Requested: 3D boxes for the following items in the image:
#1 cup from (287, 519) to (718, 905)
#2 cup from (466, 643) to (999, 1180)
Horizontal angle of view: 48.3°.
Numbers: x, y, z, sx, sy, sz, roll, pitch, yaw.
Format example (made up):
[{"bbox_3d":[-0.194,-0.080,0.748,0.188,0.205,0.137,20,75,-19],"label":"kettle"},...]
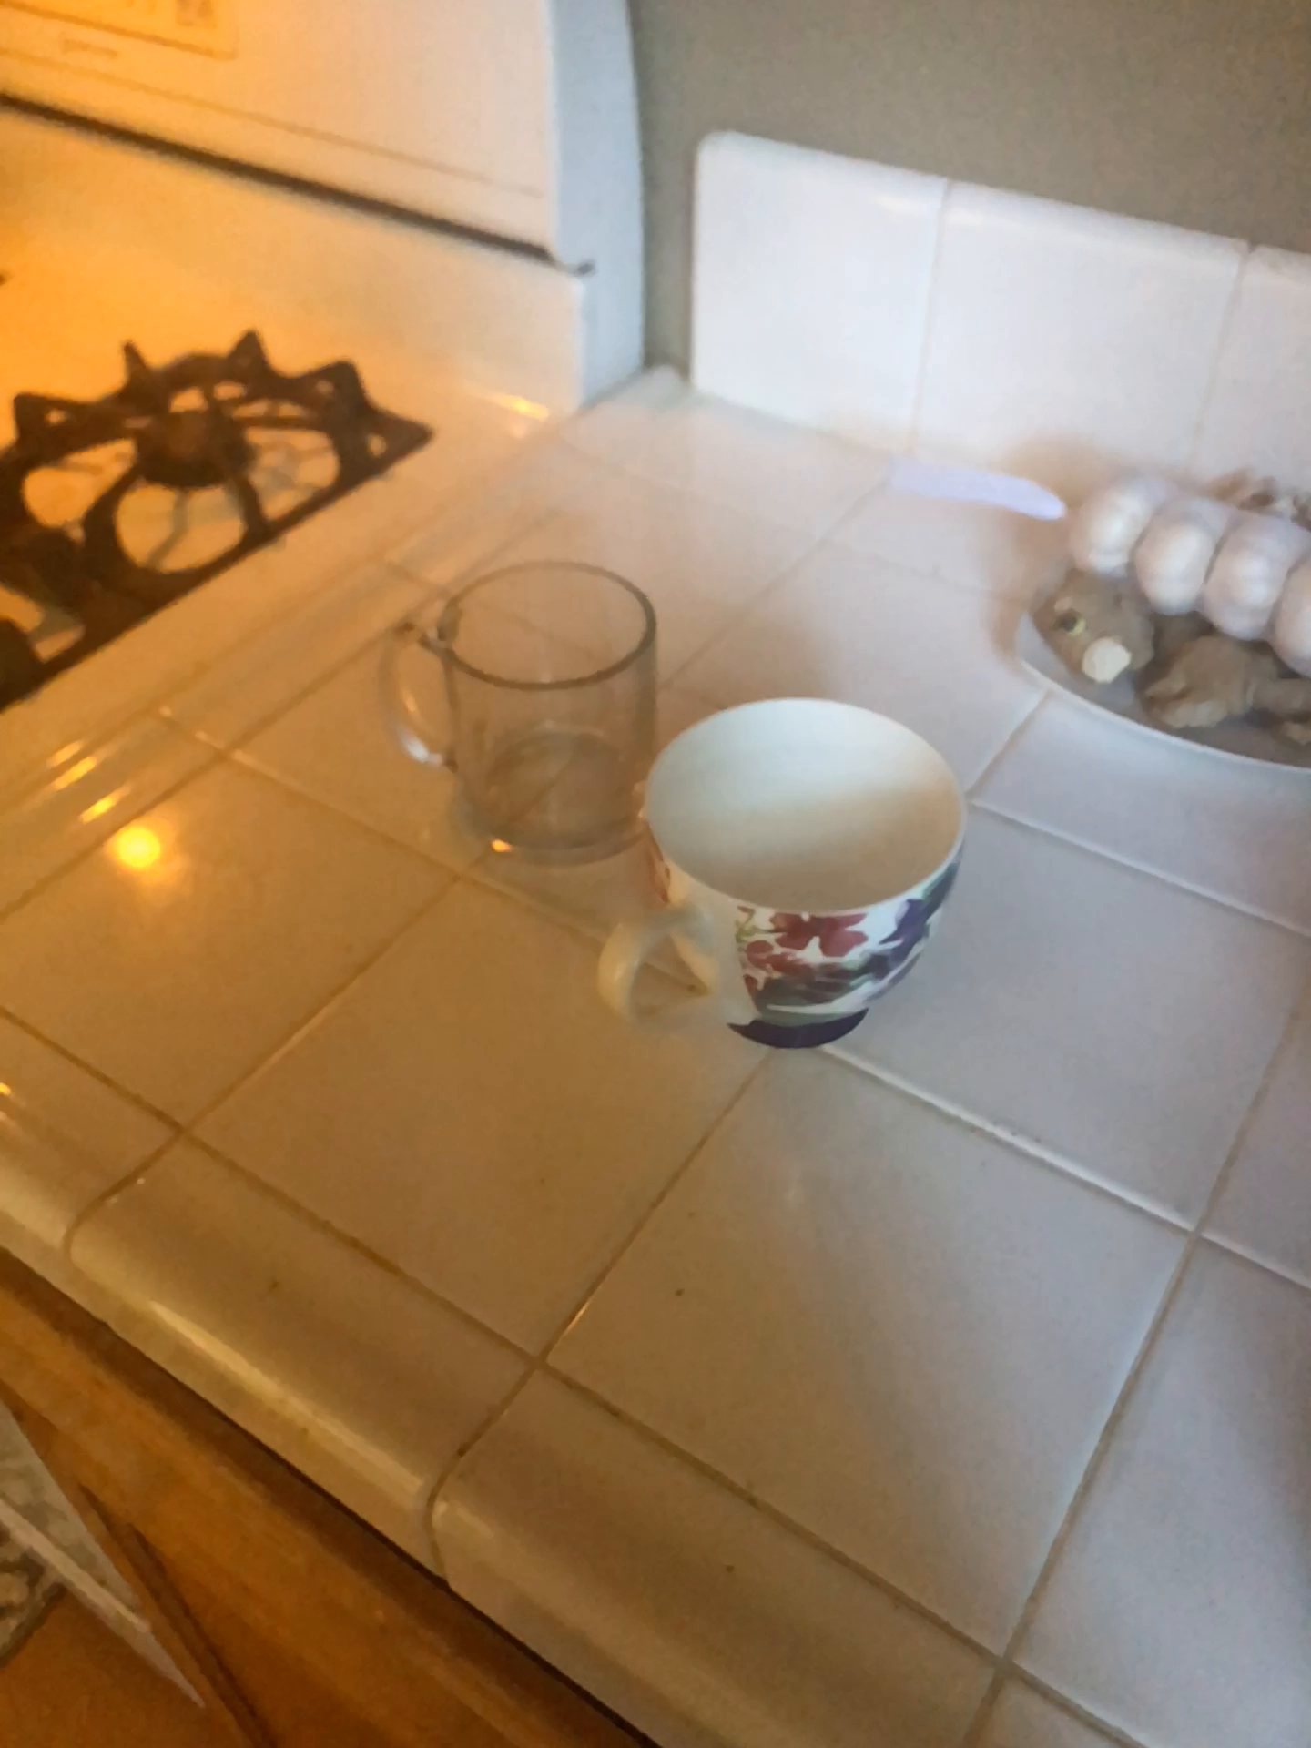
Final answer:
[{"bbox_3d":[-0.055,-0.067,0.579,0.130,0.079,0.101,17,47,17],"label":"cup"},{"bbox_3d":[0.028,0.006,0.502,0.110,0.079,0.141,30,52,27],"label":"cup"}]
